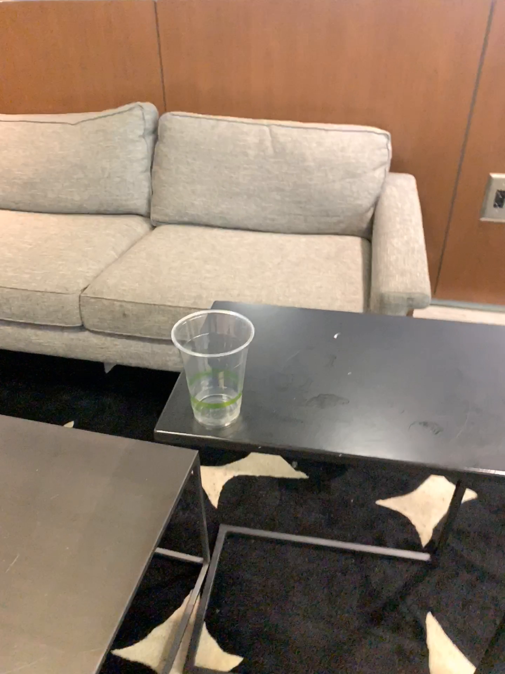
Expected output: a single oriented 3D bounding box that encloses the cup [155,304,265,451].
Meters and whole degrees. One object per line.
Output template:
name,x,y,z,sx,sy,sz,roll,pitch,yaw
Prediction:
cup,-0.045,0.046,0.629,0.100,0.129,0.100,0,34,0
